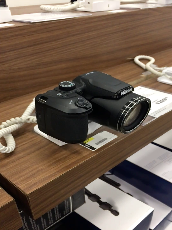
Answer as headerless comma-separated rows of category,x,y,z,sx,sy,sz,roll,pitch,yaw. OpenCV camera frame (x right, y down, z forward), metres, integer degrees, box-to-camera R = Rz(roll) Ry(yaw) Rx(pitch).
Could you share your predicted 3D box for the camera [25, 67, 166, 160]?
camera,0.015,-0.011,0.304,0.106,0.063,0.124,27,42,37
